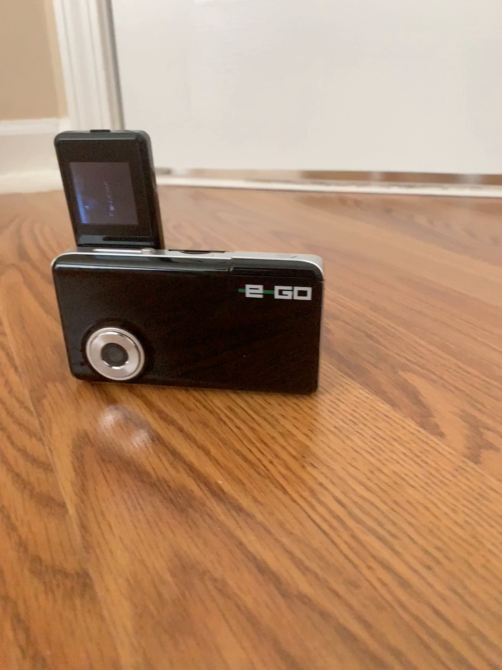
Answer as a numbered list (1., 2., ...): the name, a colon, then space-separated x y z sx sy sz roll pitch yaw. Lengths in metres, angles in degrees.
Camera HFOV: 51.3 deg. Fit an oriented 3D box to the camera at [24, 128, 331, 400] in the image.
1. camera: -0.028 -0.030 0.228 0.118 0.111 0.022 3 25 9
